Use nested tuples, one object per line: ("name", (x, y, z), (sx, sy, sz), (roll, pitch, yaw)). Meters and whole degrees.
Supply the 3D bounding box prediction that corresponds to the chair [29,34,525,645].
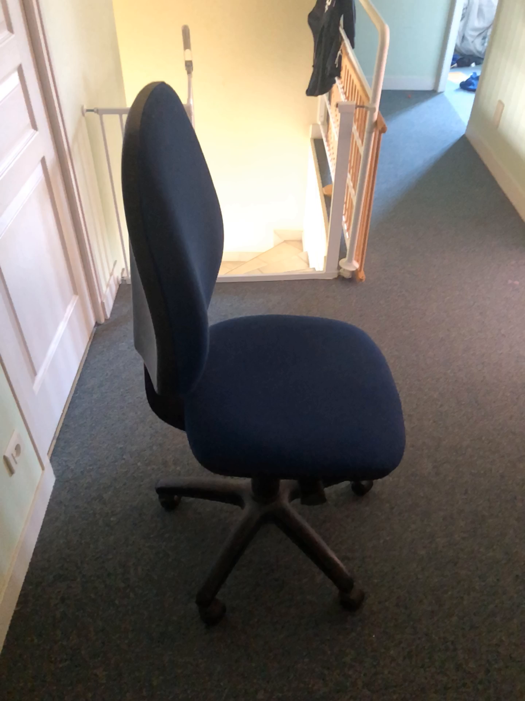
("chair", (0.049, 0.015, 1.255), (0.670, 1.113, 0.704), (-2, 41, -4))
